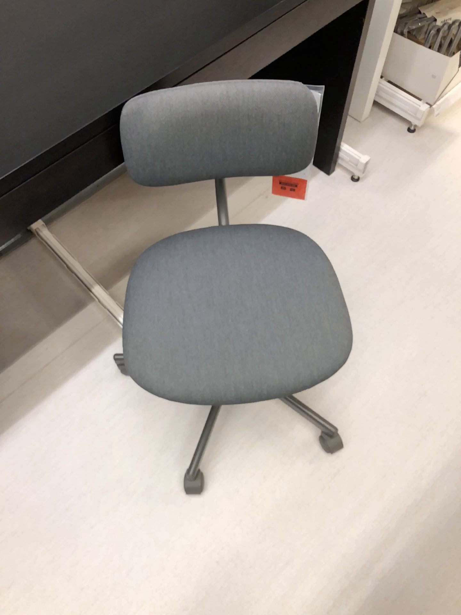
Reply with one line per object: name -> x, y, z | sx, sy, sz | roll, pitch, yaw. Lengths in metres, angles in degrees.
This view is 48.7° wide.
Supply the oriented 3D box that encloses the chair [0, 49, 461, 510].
chair -> 0.006, 0.005, 1.021 | 0.620, 0.677, 0.592 | -6, 61, -3
